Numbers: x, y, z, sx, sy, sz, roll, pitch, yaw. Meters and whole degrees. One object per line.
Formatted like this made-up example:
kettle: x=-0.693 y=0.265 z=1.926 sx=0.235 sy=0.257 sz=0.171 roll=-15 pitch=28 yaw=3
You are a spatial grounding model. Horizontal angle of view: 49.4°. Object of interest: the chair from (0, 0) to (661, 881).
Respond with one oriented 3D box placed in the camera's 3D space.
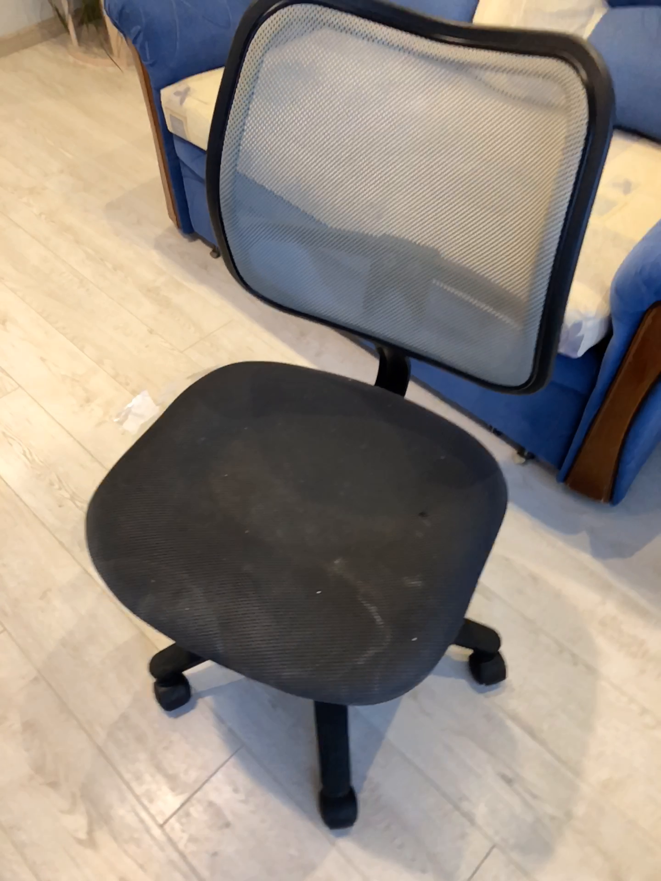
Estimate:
chair: x=-0.051 y=-0.010 z=0.795 sx=0.661 sy=0.735 sz=0.513 roll=25 pitch=55 yaw=20
